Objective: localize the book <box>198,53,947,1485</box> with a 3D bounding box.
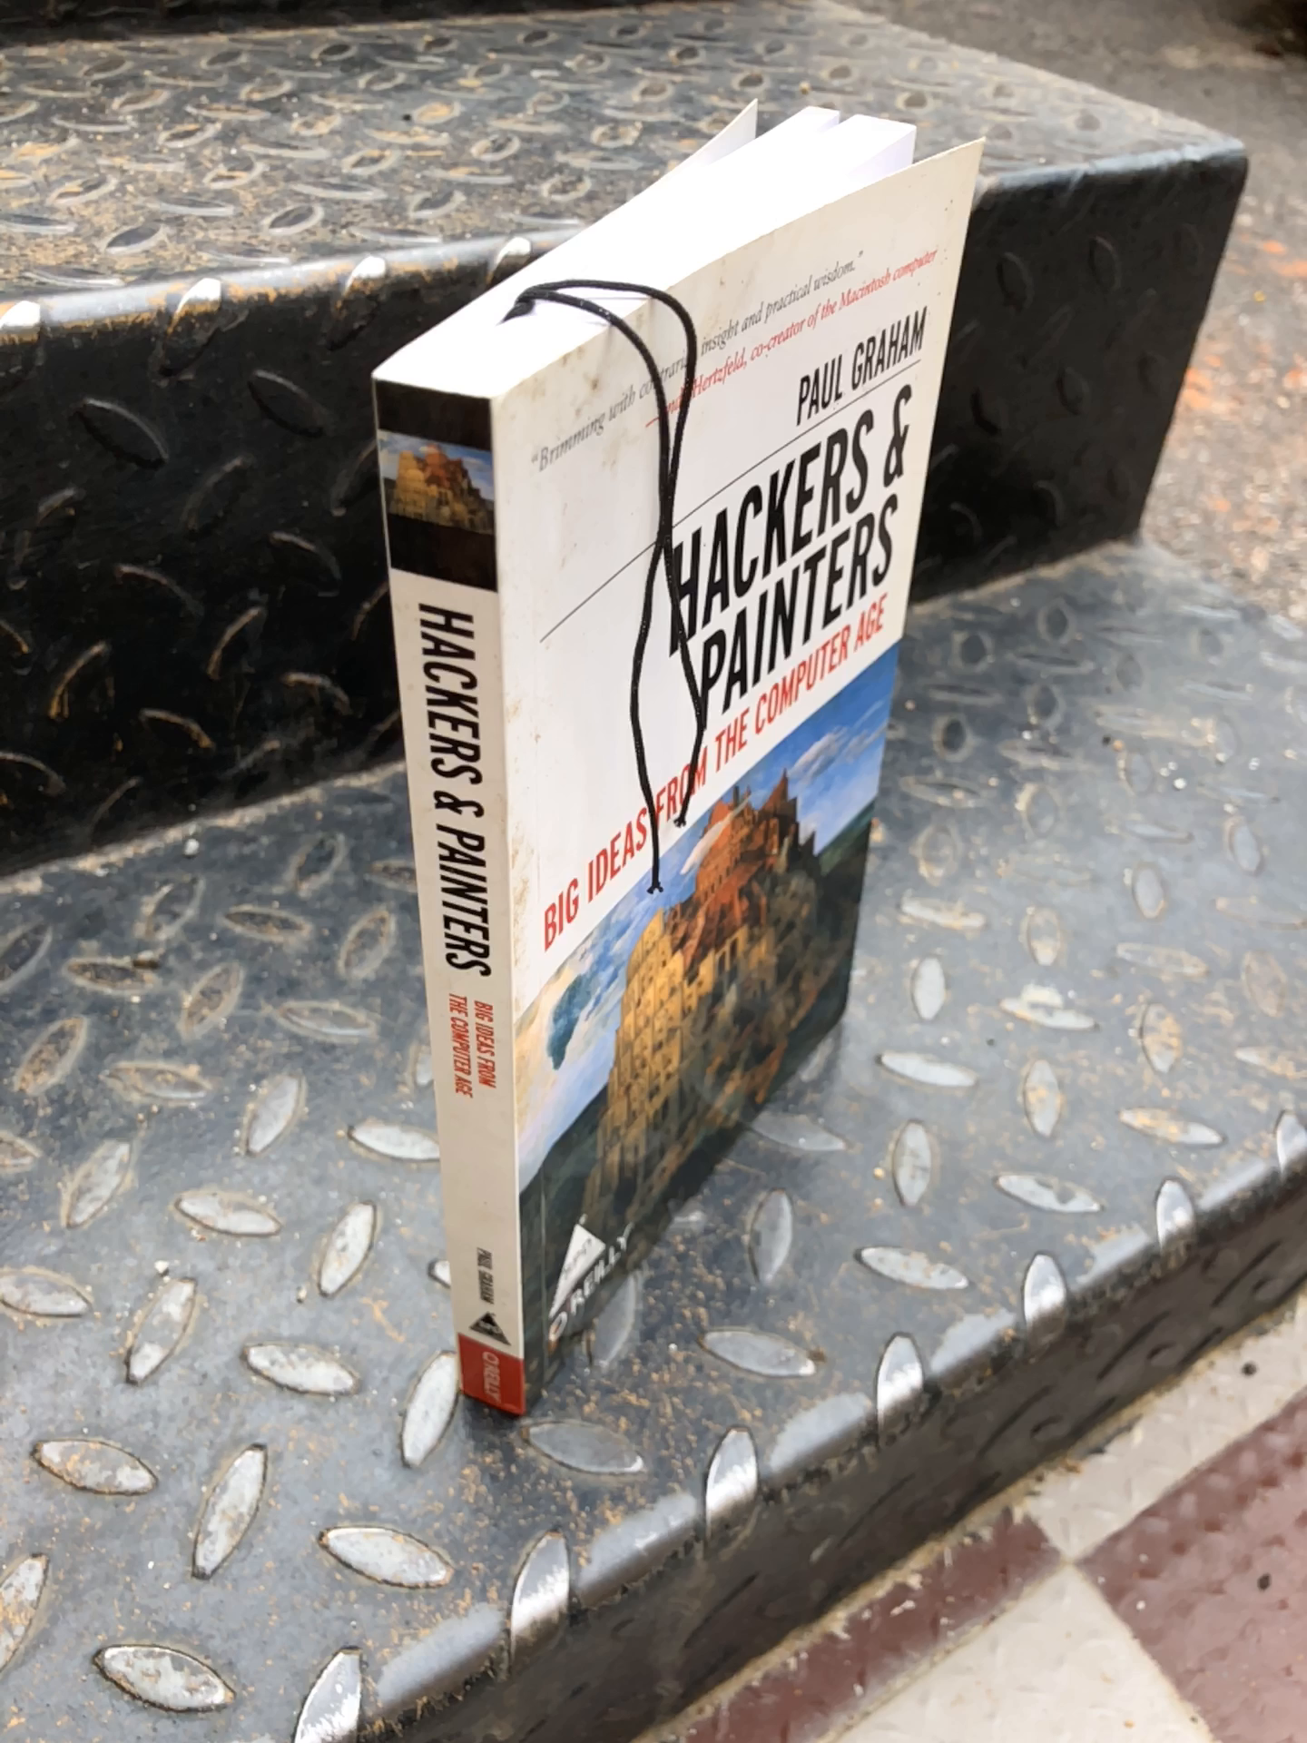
[{"bbox_3d":[0.001,-0.015,0.283,0.030,0.219,0.171,18,44,19],"label":"book"}]
